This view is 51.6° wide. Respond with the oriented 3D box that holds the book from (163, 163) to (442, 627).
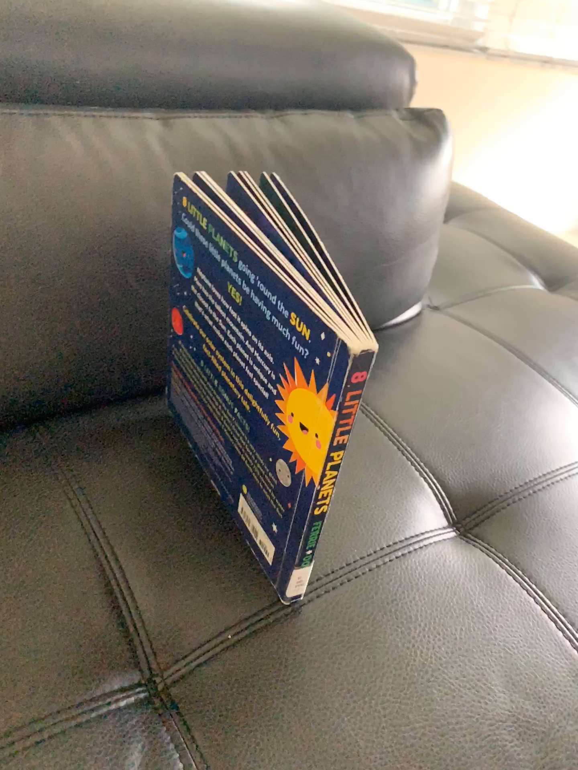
[{"bbox_3d":[-0.020,-0.002,0.393,0.079,0.211,0.209,-9,42,-22],"label":"book"}]
